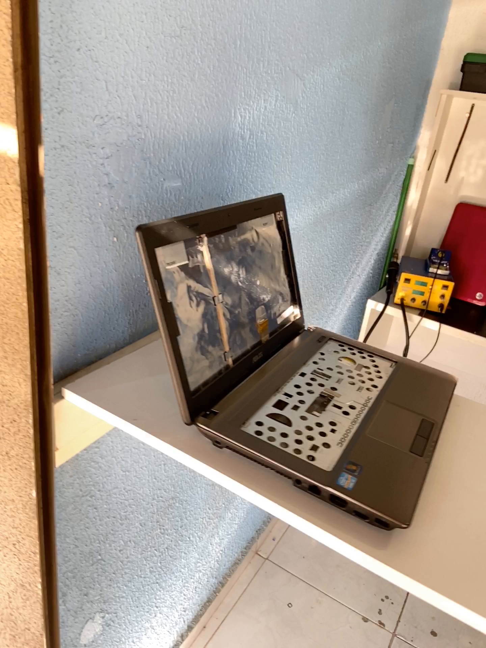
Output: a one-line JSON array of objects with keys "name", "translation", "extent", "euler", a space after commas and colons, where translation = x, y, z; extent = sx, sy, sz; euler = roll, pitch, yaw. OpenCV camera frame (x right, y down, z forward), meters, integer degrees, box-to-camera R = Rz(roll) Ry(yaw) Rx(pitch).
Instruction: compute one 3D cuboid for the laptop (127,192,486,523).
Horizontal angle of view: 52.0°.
[{"name": "laptop", "translation": [0.102, -0.012, 0.617], "extent": [0.327, 0.202, 0.338], "euler": [20, 27, 24]}]
